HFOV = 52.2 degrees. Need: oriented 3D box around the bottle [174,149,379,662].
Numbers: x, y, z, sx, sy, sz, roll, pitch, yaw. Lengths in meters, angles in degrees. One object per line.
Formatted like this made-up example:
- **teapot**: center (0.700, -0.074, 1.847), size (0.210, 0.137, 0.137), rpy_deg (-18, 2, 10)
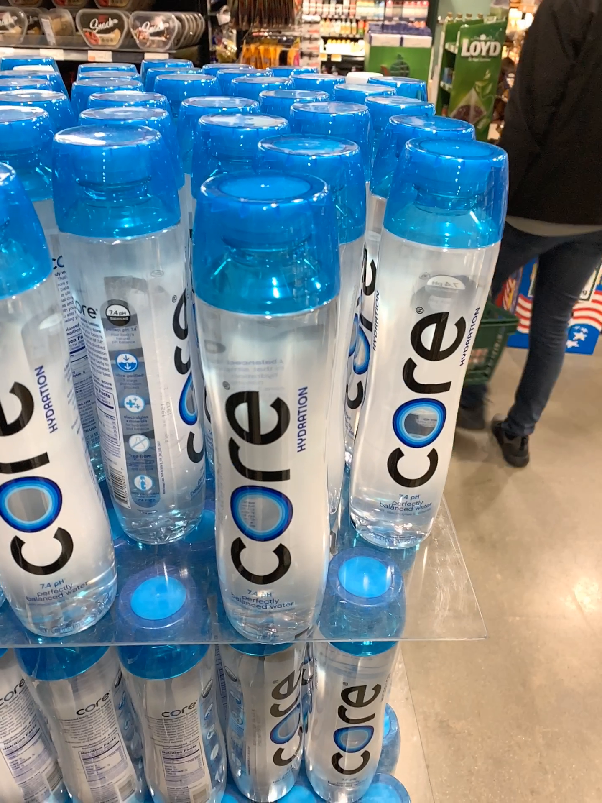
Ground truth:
- **bottle**: center (-0.009, 0.019, 0.355), size (0.080, 0.288, 0.091), rpy_deg (5, 33, 4)
